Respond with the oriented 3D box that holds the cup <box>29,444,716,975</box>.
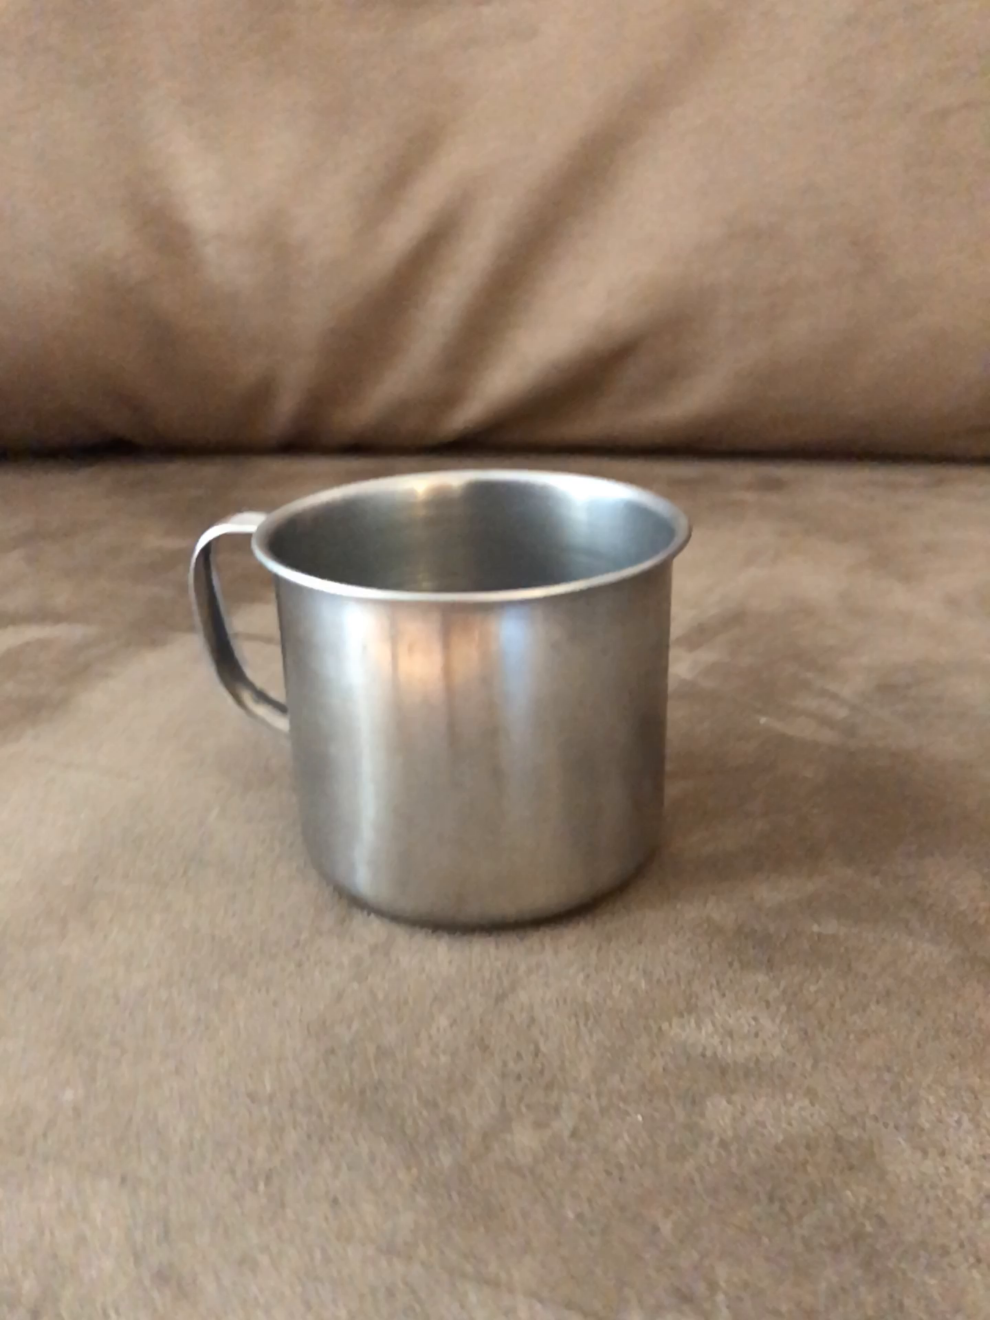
[{"bbox_3d":[-0.017,0.000,0.236,0.110,0.070,0.091,6,23,18],"label":"cup"}]
